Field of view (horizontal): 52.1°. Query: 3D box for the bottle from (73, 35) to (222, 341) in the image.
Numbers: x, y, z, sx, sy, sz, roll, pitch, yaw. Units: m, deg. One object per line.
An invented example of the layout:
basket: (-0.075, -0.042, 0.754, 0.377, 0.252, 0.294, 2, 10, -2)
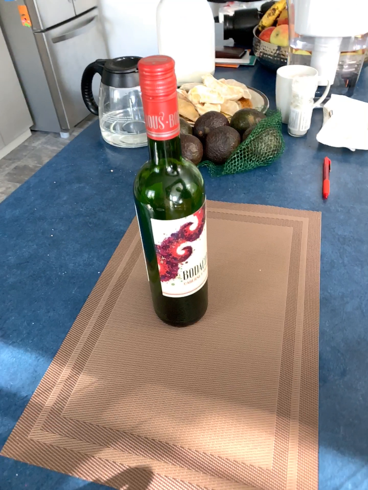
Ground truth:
bottle: (-0.017, -0.034, 0.380, 0.080, 0.297, 0.081, -2, 42, 2)
